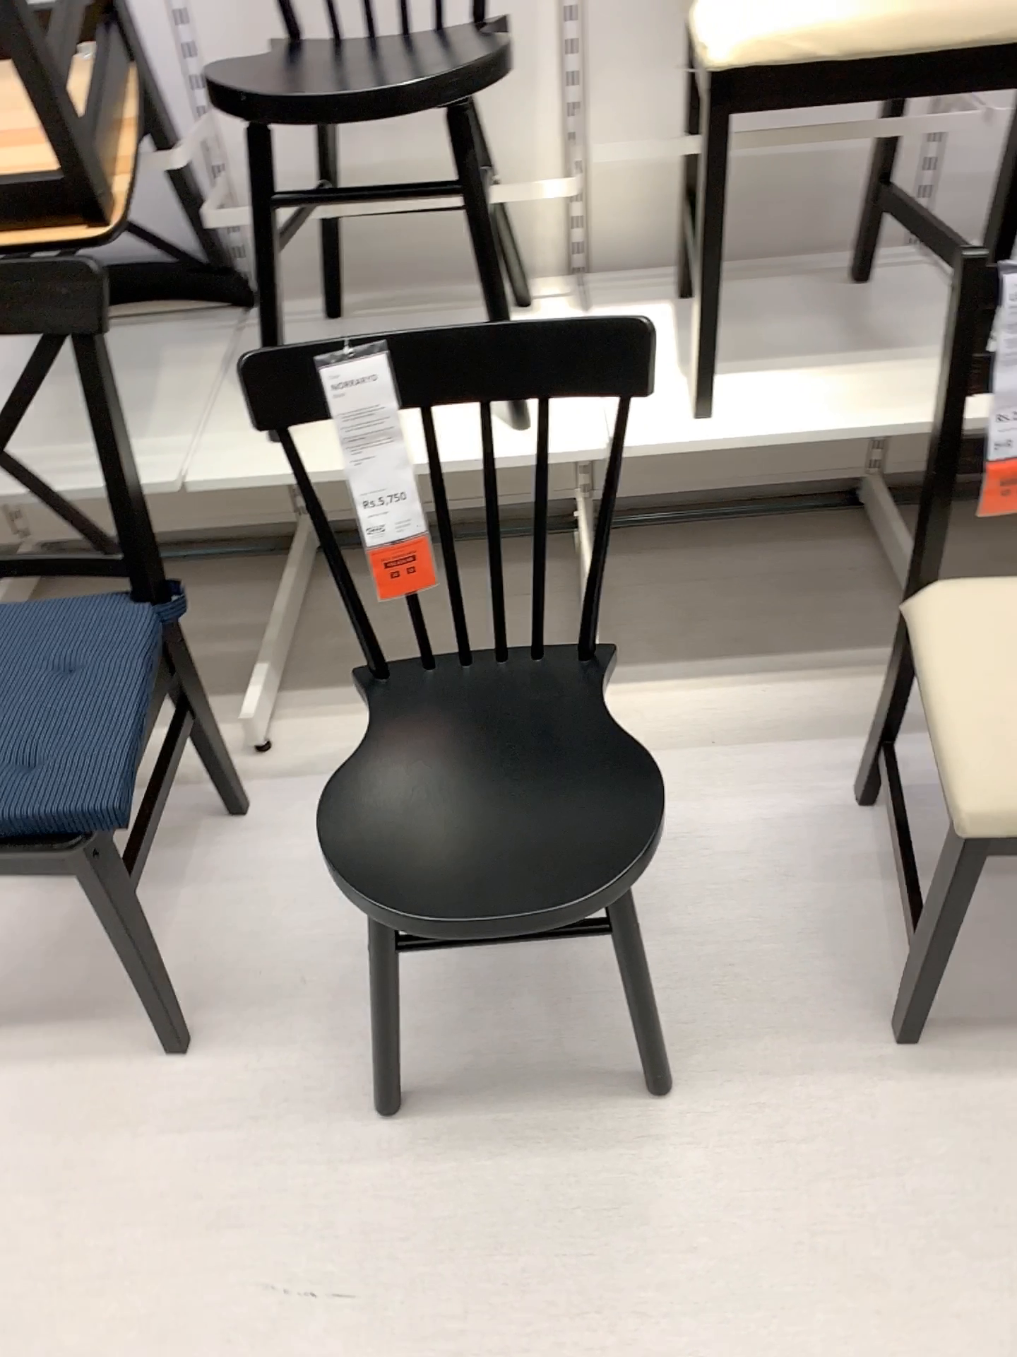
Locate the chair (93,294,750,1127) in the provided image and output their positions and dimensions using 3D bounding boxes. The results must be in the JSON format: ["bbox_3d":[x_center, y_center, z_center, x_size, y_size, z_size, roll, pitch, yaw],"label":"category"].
[{"bbox_3d":[-0.042,0.068,1.190,0.470,0.787,0.522,-4,42,2],"label":"chair"}]
